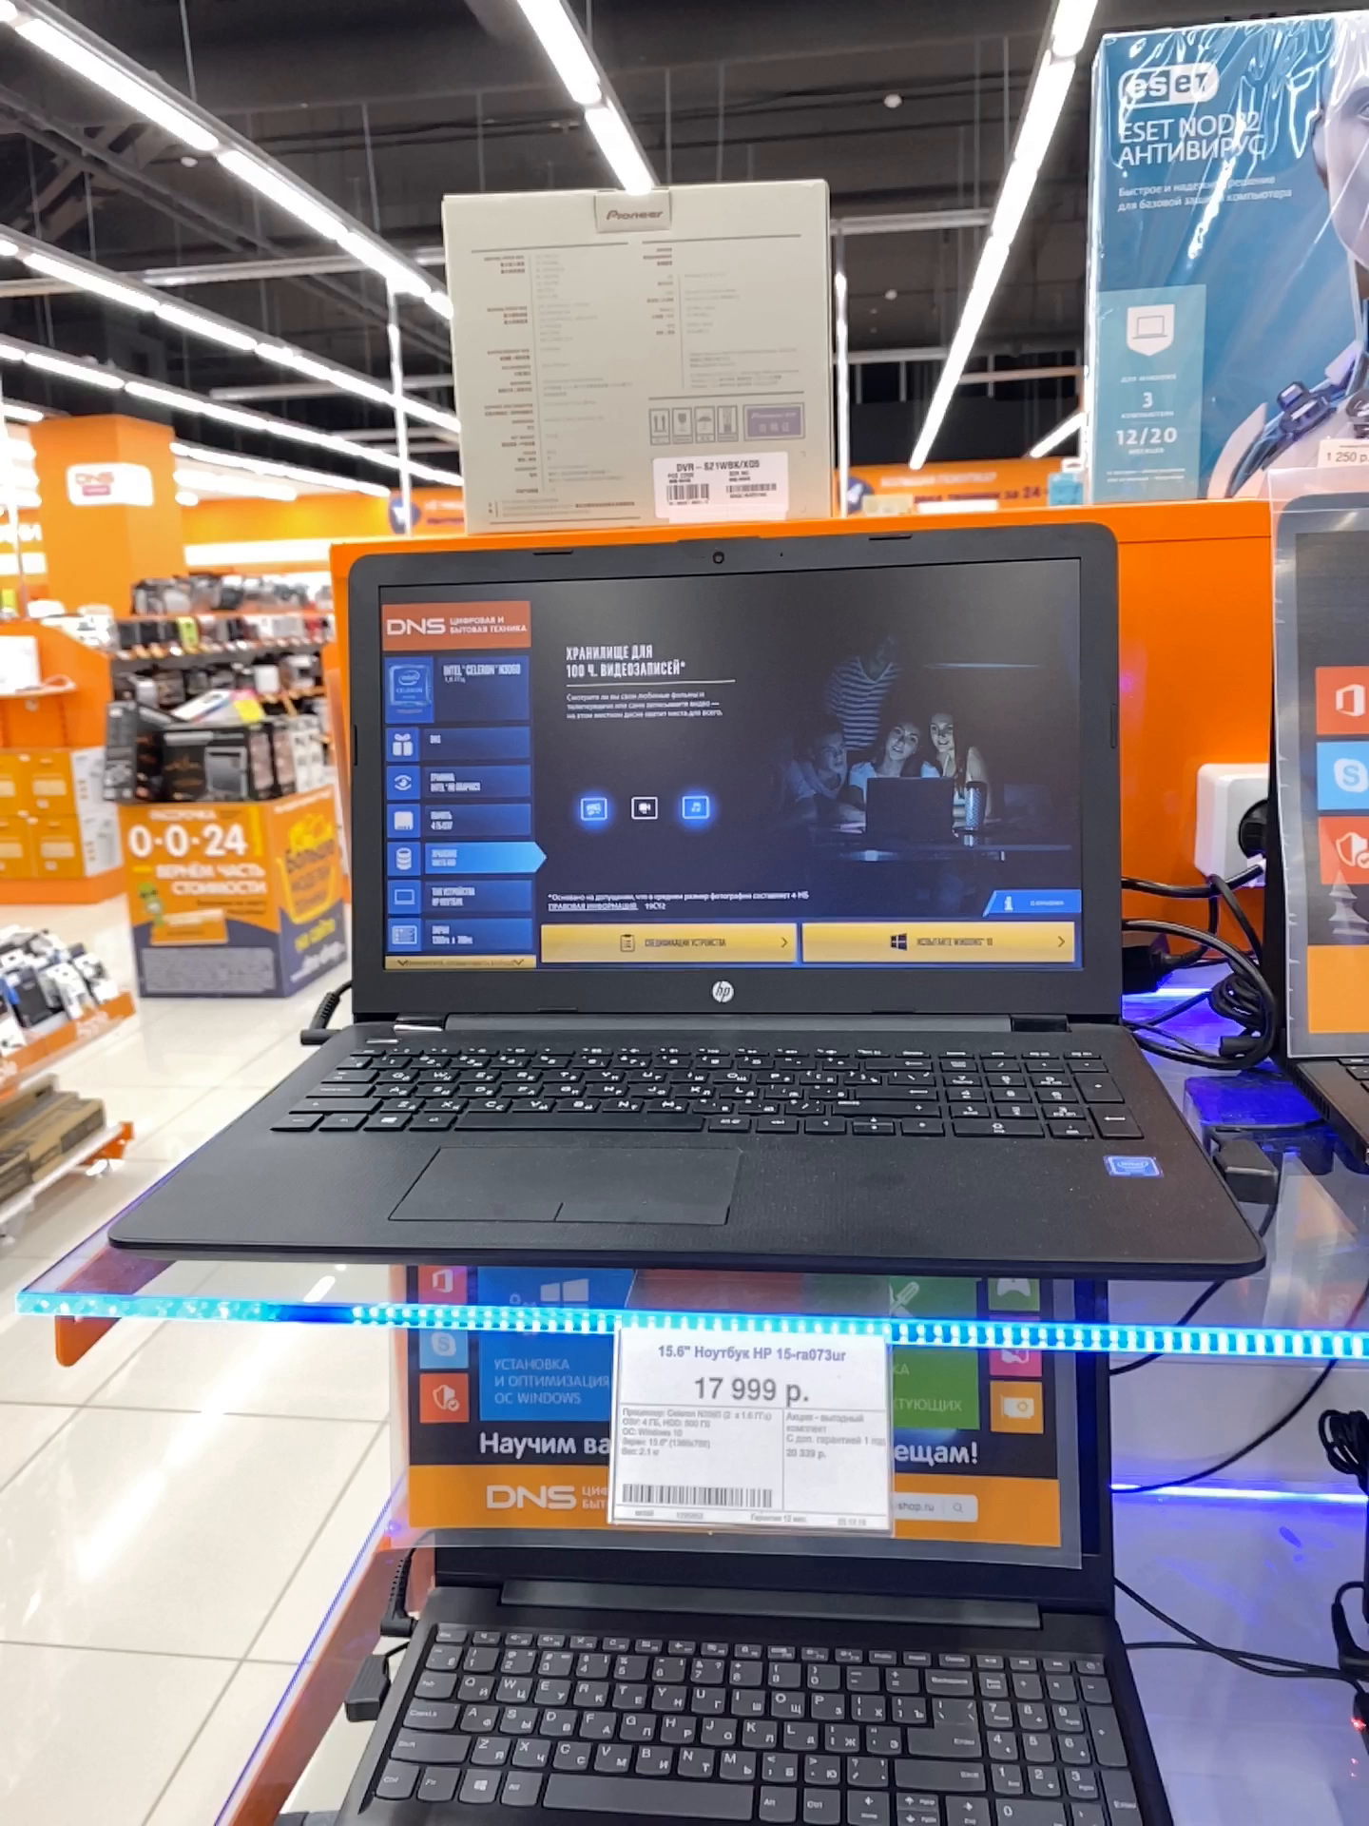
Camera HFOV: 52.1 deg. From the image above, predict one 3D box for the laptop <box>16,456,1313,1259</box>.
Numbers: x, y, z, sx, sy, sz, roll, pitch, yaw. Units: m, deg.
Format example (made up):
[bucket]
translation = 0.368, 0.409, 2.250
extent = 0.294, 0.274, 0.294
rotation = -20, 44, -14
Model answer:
[laptop]
translation = 0.001, -0.042, 0.593
extent = 0.388, 0.236, 0.323
rotation = 0, 11, 7
